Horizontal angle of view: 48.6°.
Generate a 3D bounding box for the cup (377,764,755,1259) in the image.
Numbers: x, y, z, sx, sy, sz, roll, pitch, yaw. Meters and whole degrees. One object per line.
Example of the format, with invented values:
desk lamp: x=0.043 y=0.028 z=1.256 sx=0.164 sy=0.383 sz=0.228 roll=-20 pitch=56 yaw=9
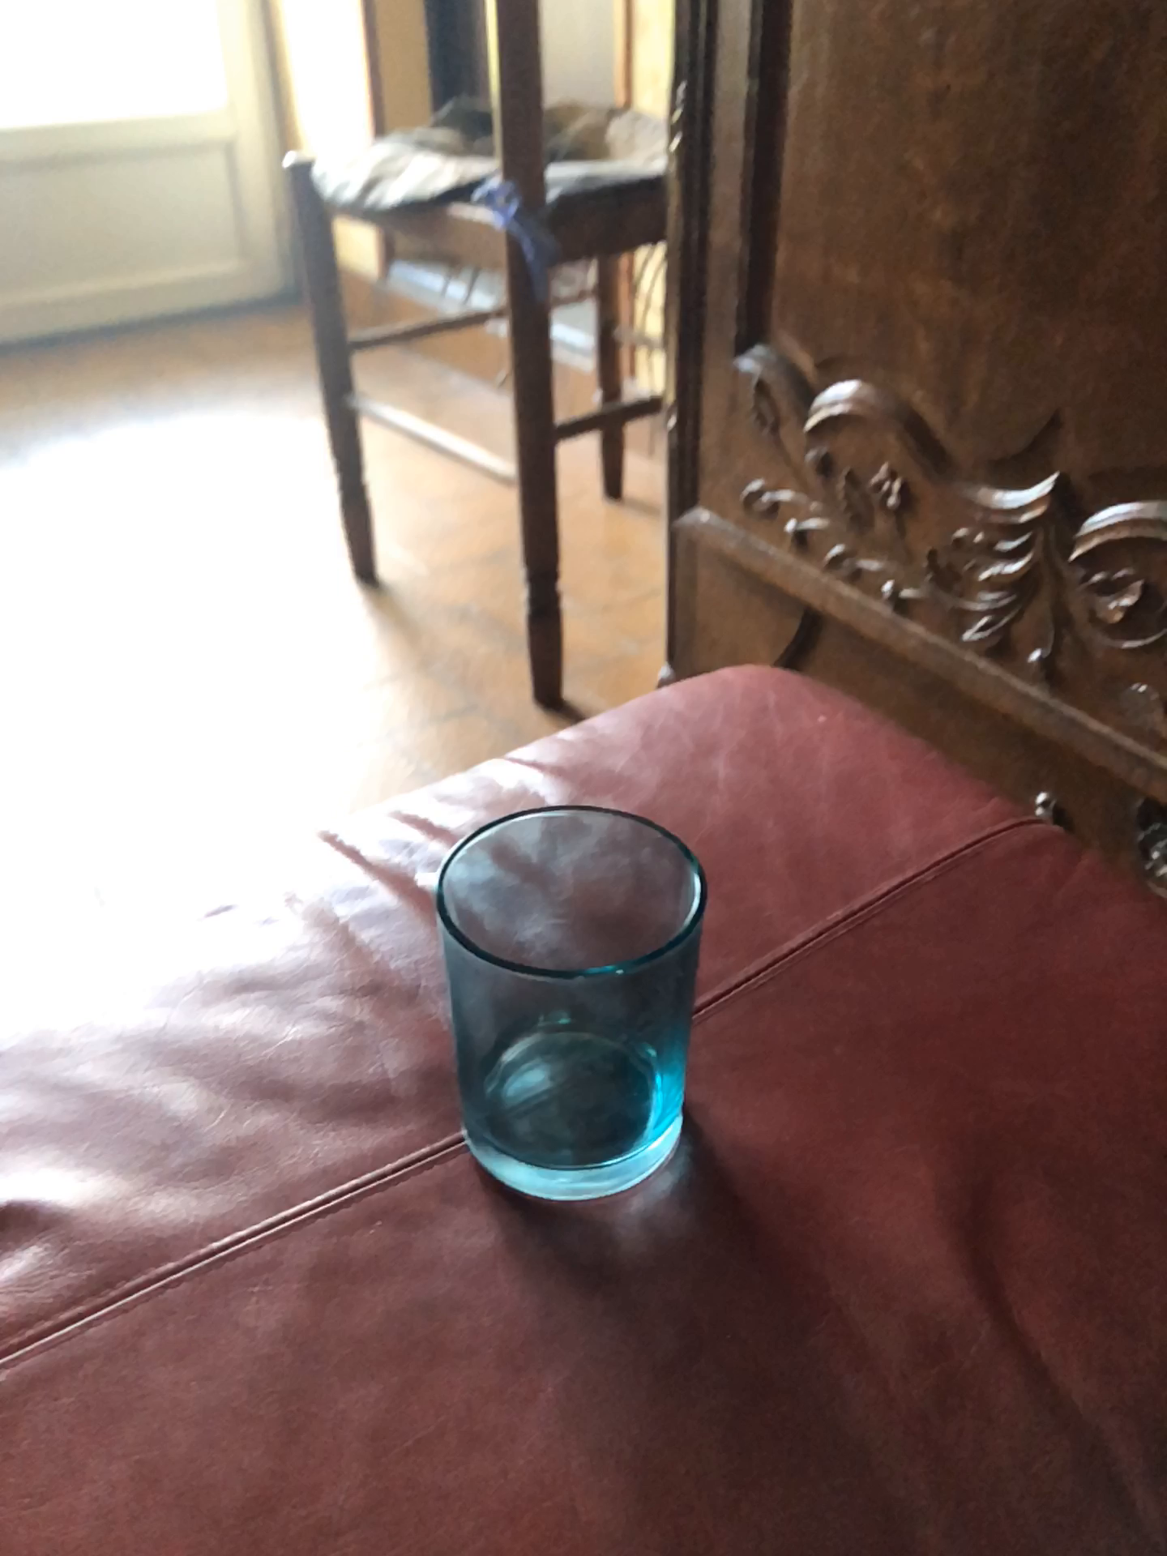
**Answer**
cup: x=-0.001 y=0.059 z=0.341 sx=0.070 sy=0.089 sz=0.070 roll=-1 pitch=33 yaw=1
